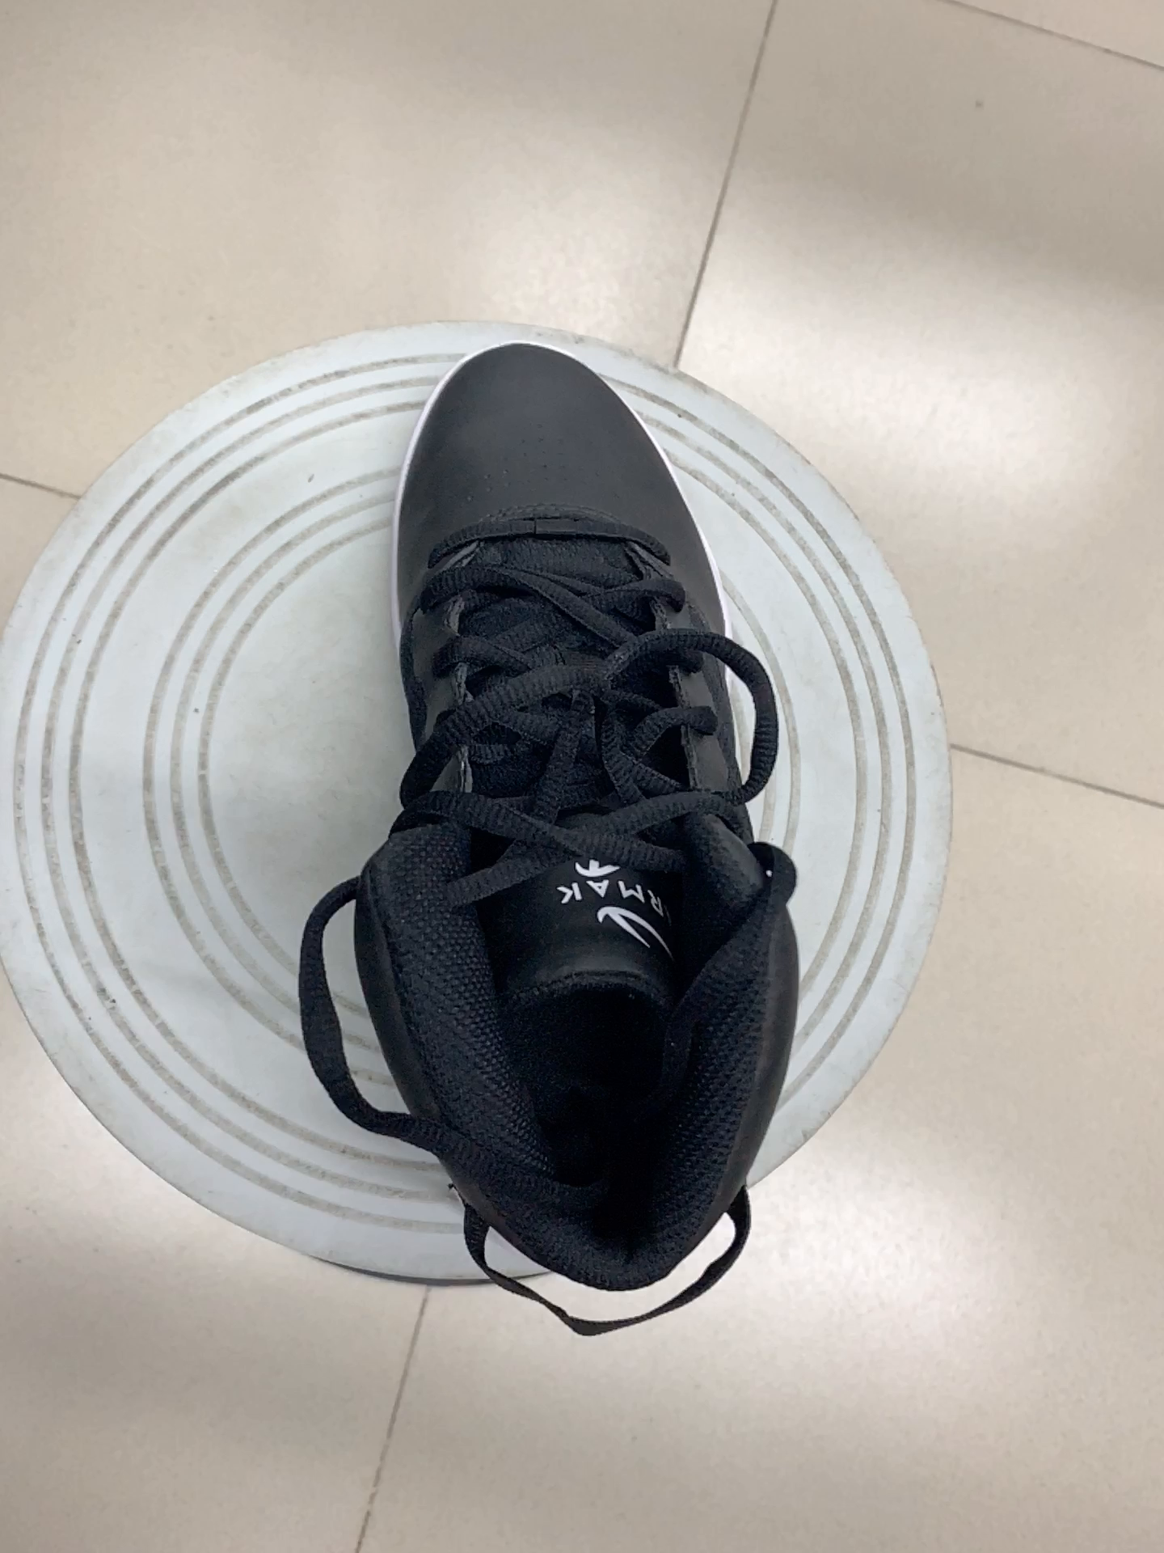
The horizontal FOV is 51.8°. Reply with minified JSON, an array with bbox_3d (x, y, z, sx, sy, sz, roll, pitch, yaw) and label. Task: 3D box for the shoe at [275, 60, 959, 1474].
[{"bbox_3d":[-0.005,-0.009,0.252,0.090,0.100,0.240,-5,78,-7],"label":"shoe"}]
